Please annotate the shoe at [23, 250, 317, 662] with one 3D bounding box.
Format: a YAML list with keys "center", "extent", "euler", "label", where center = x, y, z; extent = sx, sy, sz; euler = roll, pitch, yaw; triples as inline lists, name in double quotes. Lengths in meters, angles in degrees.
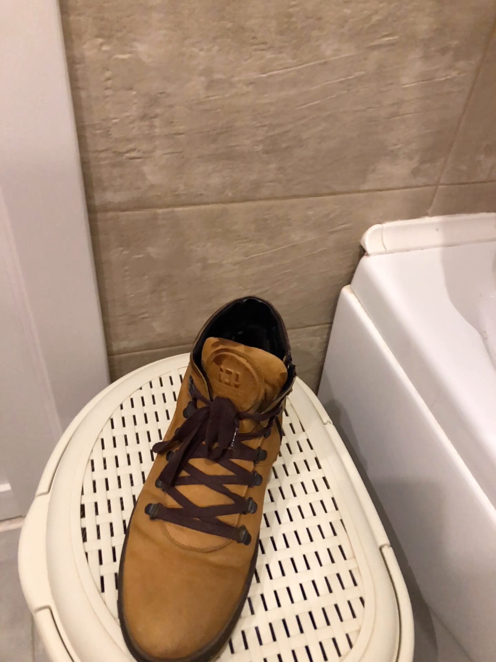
- center: [-0.033, 0.097, 0.429]
  extent: [0.110, 0.169, 0.292]
  euler: [12, 44, 6]
  label: "shoe"
